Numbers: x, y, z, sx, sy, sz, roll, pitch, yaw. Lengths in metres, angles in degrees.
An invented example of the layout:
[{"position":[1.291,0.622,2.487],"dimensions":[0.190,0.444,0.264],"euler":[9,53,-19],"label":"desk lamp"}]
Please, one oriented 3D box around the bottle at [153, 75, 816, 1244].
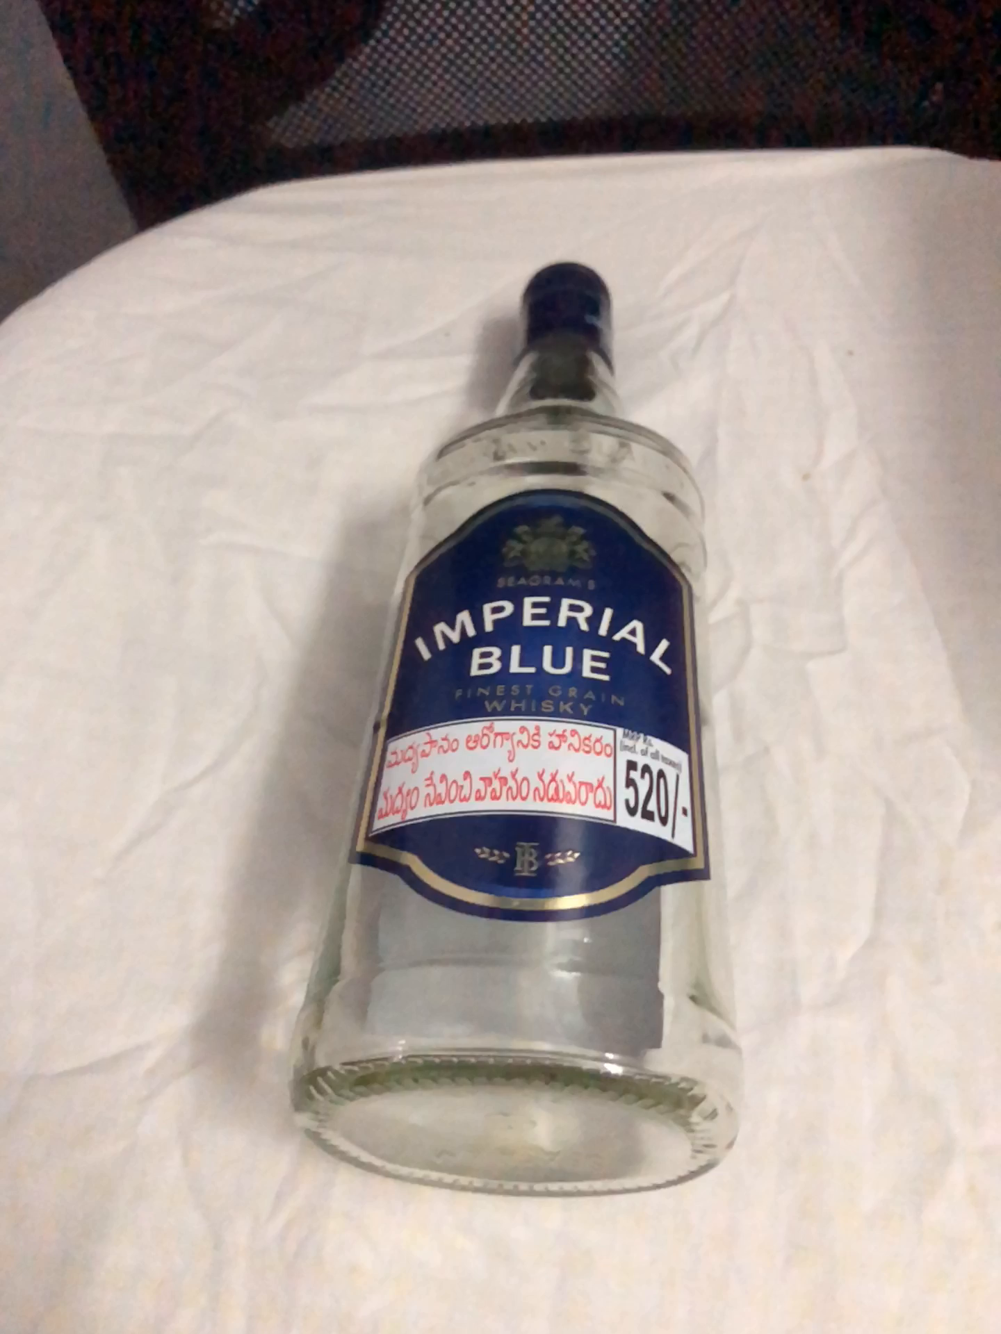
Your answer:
[{"position":[0.008,-0.025,0.260],"dimensions":[0.090,0.080,0.271],"euler":[1,56,5],"label":"bottle"}]
